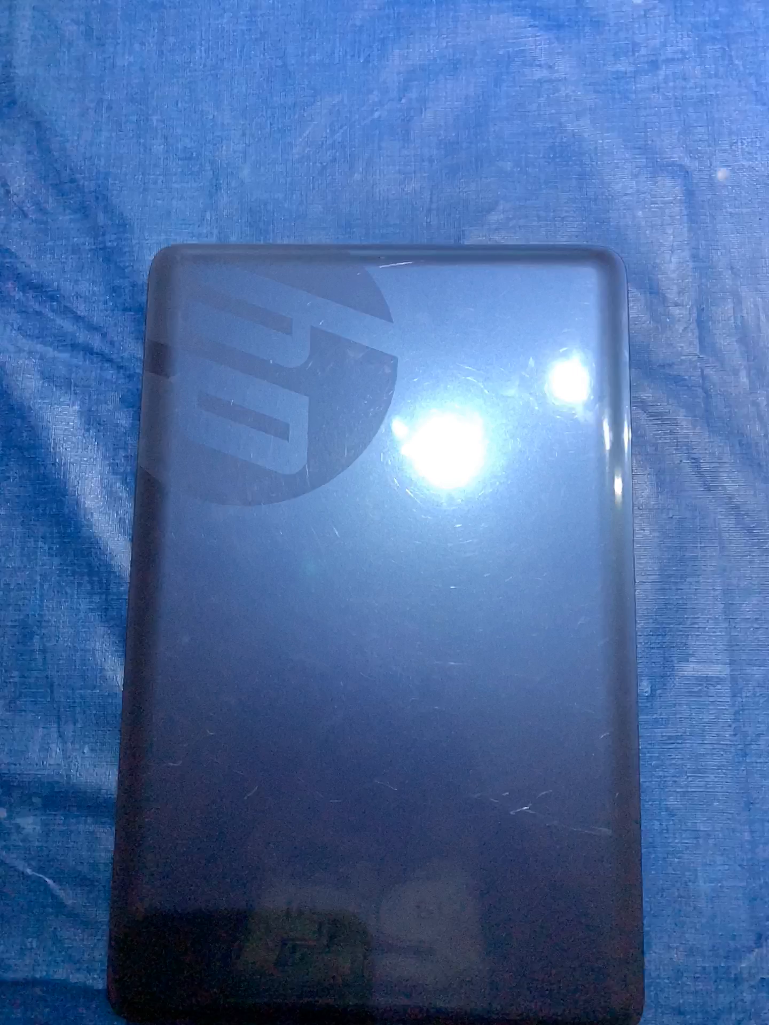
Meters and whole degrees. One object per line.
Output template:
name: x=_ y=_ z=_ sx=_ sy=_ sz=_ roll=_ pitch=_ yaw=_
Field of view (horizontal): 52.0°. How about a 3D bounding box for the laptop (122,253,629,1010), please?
laptop: x=-0.001 y=0.048 z=0.390 sx=0.235 sy=0.009 sz=0.363 roll=1 pitch=84 yaw=1
